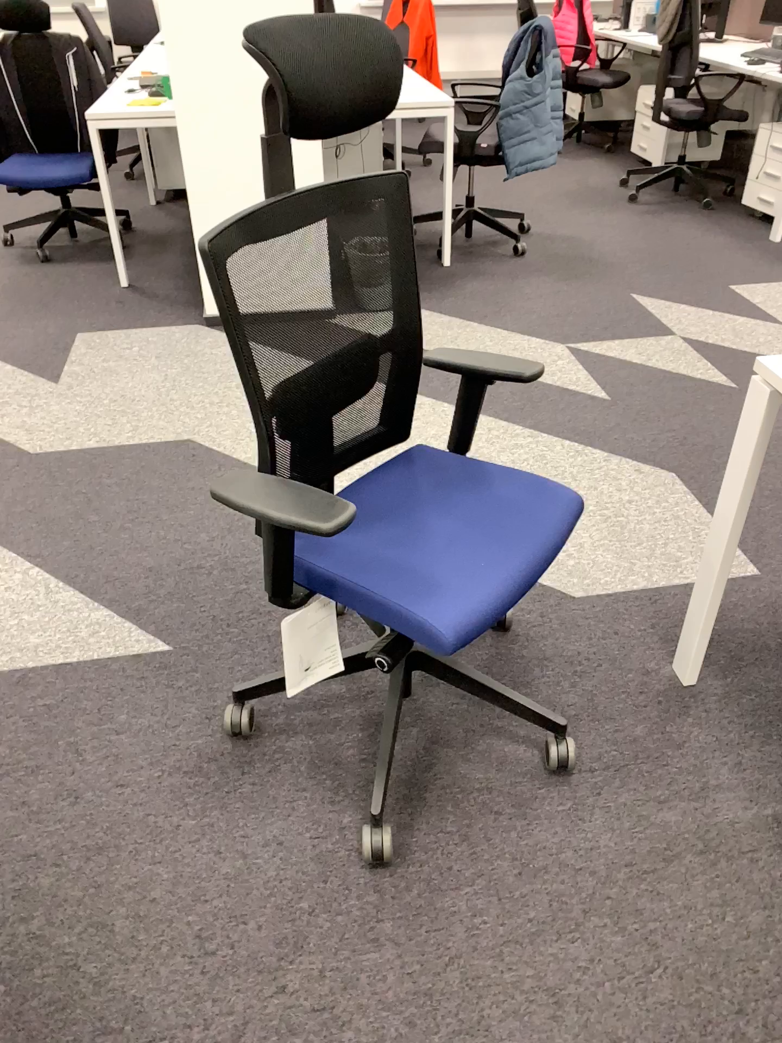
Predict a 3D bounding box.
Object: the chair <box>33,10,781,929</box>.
[{"bbox_3d":[0.056,-0.115,1.379,0.671,1.243,0.733,28,44,34],"label":"chair"}]
